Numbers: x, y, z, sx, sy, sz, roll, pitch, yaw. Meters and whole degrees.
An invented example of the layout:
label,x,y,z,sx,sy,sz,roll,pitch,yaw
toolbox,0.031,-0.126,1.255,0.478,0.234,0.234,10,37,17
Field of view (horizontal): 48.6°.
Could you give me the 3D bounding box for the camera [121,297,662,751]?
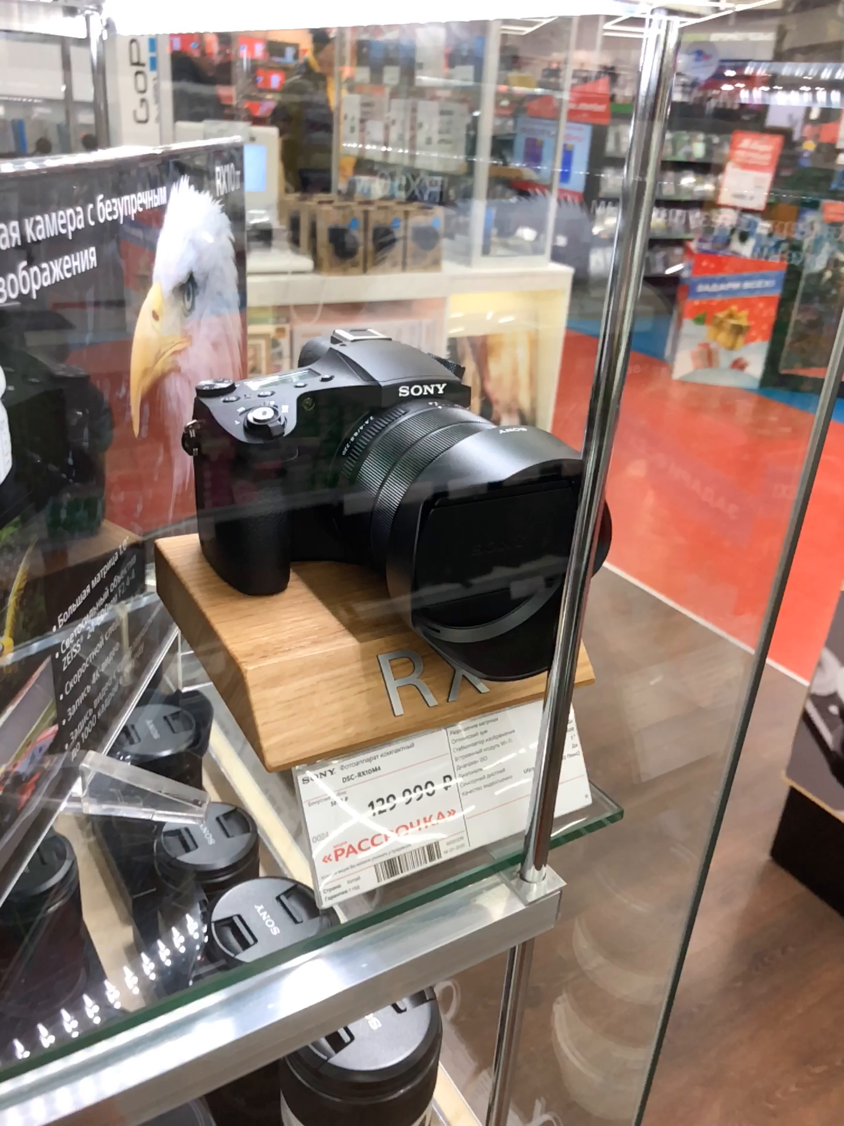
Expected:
label,x,y,z,sx,sy,sz,roll,pitch,yaw
camera,-0.024,-0.034,0.366,0.126,0.099,0.178,-12,31,-31
